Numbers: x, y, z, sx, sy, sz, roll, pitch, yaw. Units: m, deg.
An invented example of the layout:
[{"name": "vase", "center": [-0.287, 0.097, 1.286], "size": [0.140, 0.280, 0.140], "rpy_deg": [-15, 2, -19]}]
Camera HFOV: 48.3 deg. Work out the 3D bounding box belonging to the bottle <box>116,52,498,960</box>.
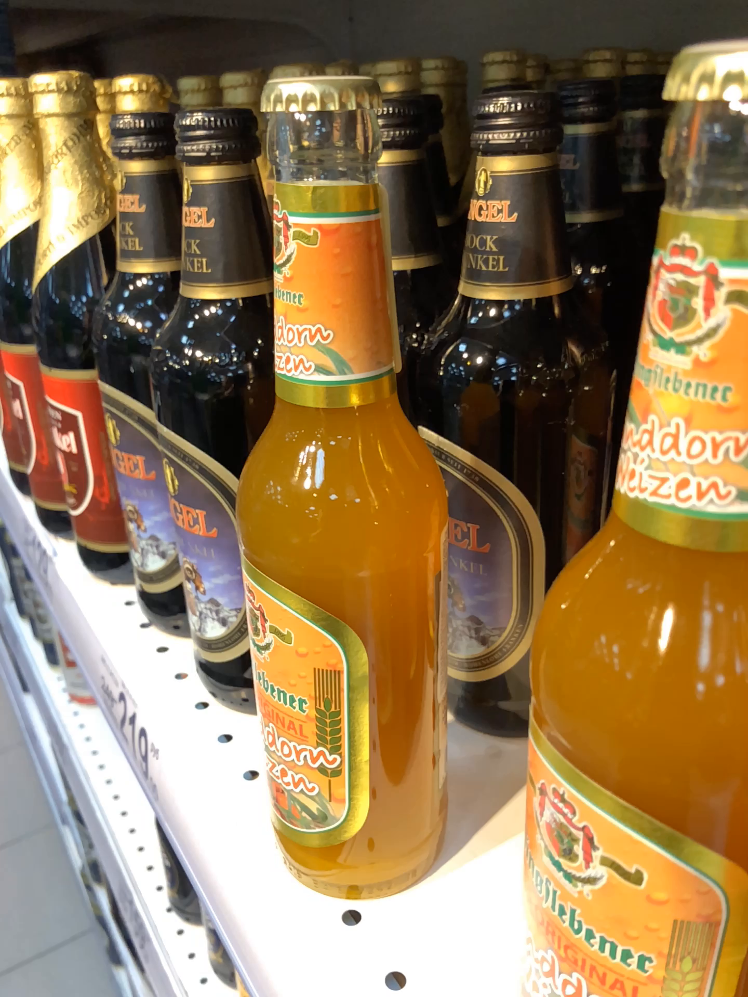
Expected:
[{"name": "bottle", "center": [-0.013, 0.008, 0.228], "size": [0.060, 0.225, 0.070], "rpy_deg": [-15, 28, -23]}]
